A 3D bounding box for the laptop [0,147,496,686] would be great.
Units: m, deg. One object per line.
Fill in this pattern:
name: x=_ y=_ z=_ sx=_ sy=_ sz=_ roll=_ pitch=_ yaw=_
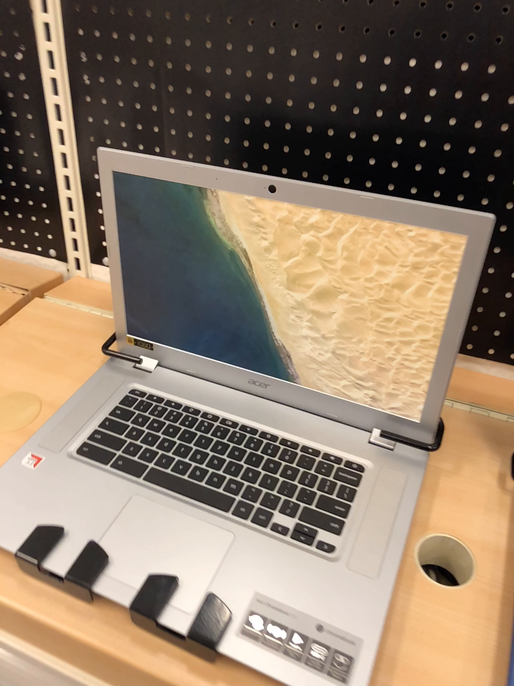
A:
laptop: x=-0.038 y=0.026 z=0.484 sx=0.371 sy=0.246 sz=0.287 roll=15 pitch=36 yaw=19
